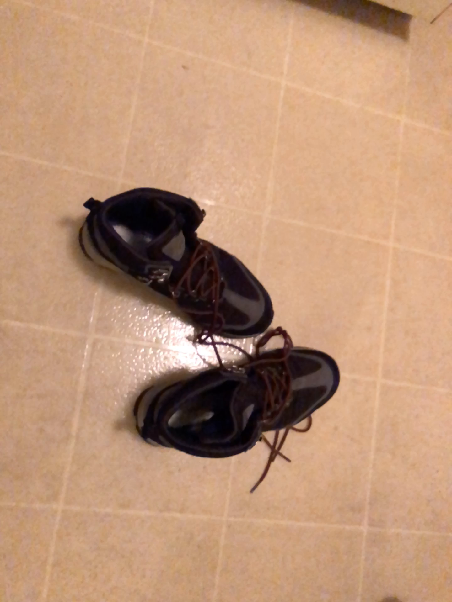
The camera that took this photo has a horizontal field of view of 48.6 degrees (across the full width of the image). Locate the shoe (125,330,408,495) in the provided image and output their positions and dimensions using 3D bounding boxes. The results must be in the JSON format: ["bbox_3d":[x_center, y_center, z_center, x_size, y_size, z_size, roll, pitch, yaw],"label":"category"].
[{"bbox_3d":[0.037,0.126,0.646,0.299,0.196,0.116,-9,86,-16],"label":"shoe"}]

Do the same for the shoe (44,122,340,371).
[{"bbox_3d":[-0.051,-0.046,0.641,0.309,0.196,0.126,32,76,-10],"label":"shoe"}]
